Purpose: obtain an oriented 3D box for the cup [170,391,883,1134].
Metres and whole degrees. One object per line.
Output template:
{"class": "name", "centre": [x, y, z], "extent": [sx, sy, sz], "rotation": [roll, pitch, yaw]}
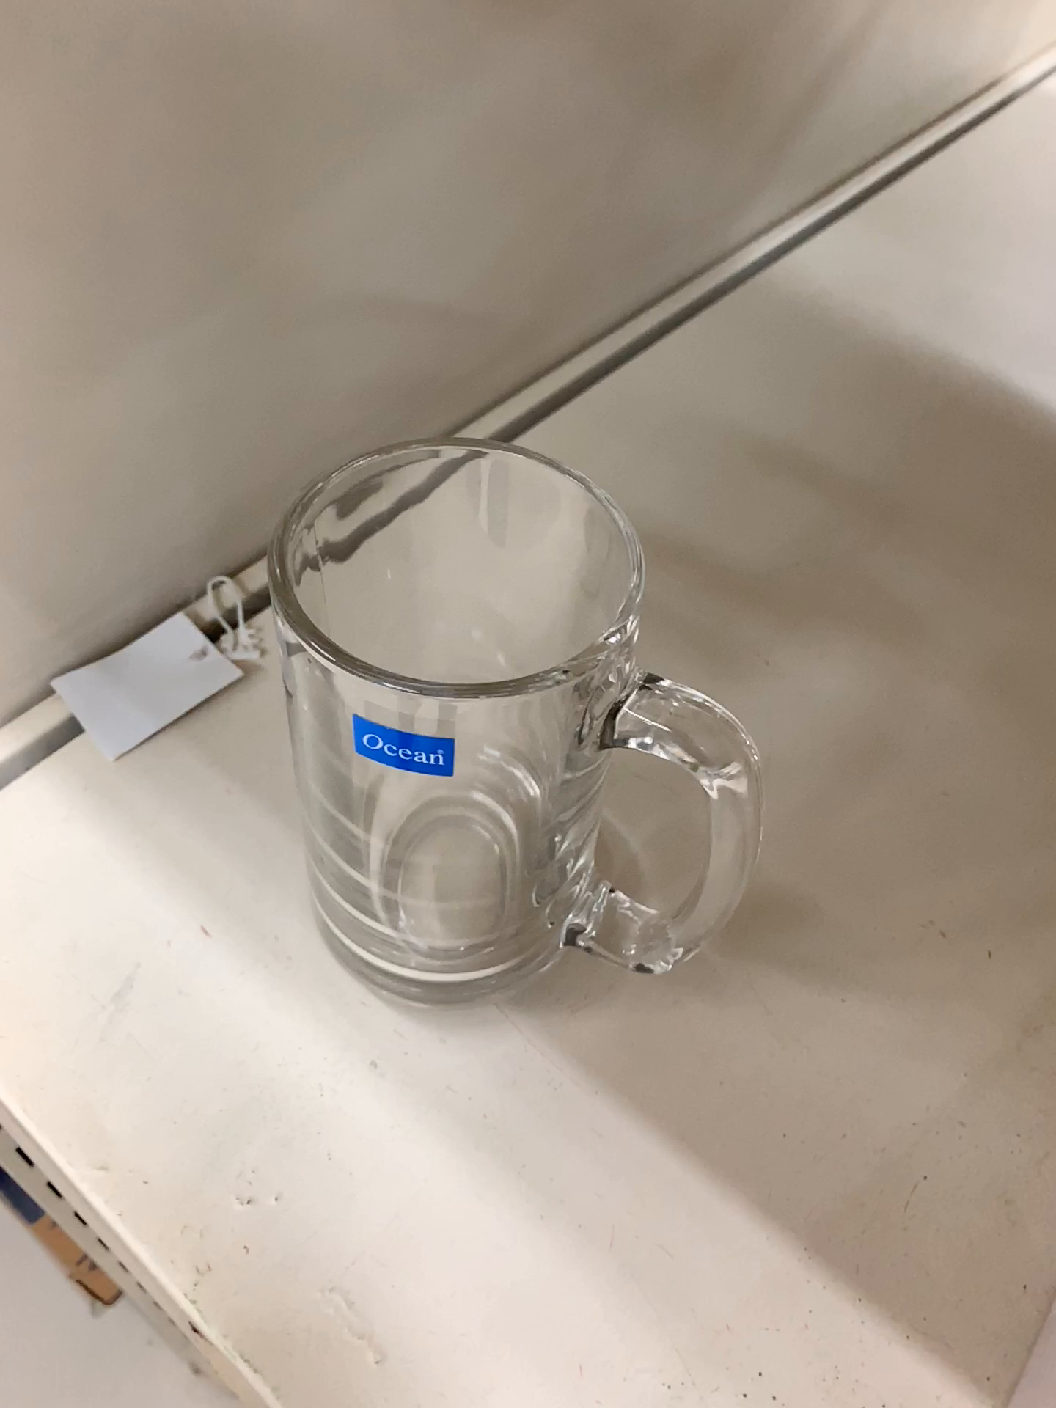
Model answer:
{"class": "cup", "centre": [0.000, 0.018, 0.252], "extent": [0.111, 0.127, 0.076], "rotation": [20, 52, 13]}
